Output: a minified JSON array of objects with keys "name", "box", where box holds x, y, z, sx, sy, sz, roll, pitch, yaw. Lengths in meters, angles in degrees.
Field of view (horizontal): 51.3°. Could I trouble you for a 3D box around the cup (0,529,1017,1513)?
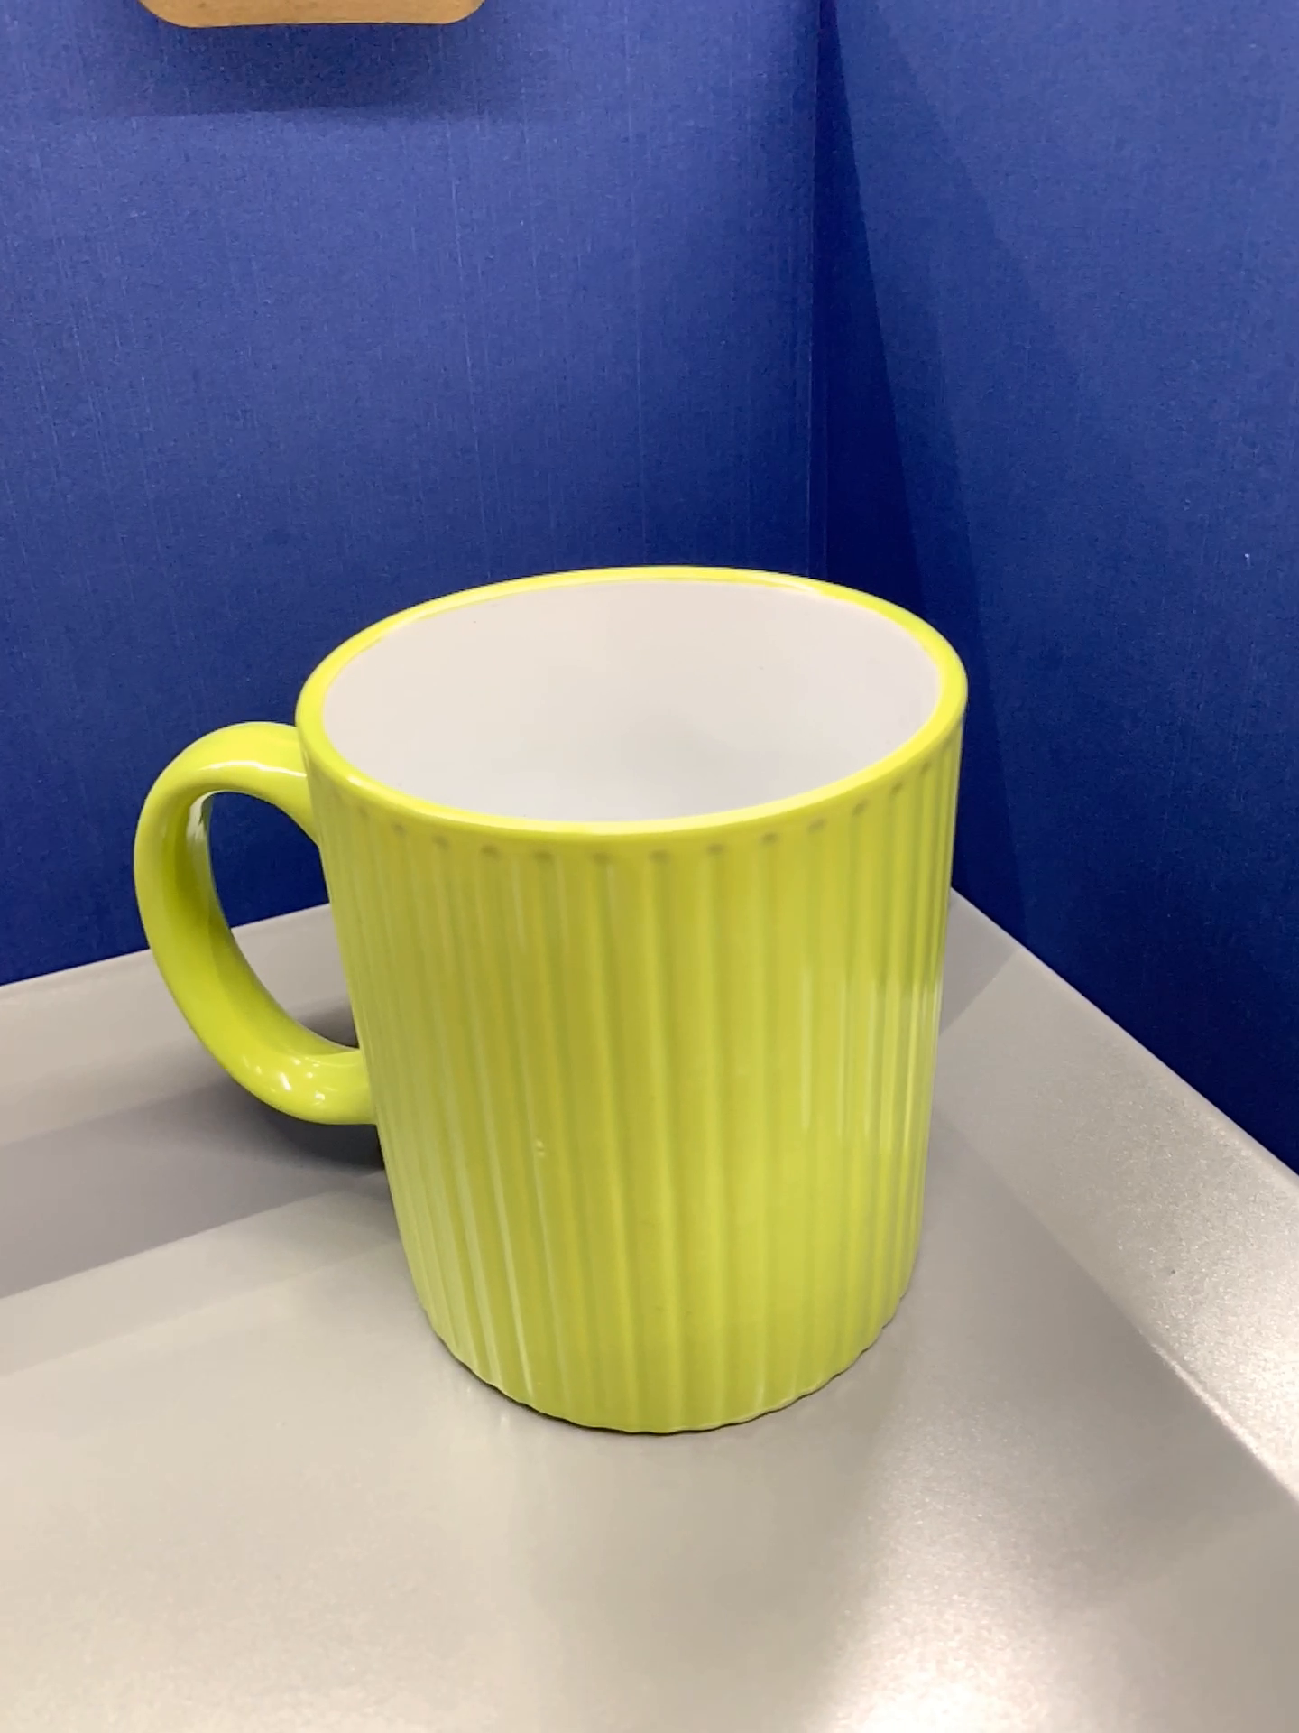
[{"name":"cup","box":[-0.017,0.012,0.208,0.129,0.098,0.091,7,30,17]}]
